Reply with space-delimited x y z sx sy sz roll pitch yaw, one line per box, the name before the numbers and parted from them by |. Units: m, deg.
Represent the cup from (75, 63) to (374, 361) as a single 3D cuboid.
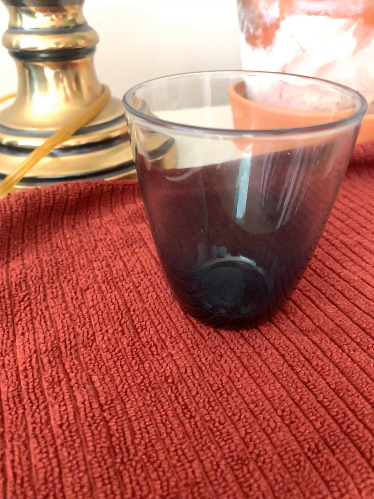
cup | 0.021 -0.027 0.157 0.087 0.070 0.084 0 33 0
